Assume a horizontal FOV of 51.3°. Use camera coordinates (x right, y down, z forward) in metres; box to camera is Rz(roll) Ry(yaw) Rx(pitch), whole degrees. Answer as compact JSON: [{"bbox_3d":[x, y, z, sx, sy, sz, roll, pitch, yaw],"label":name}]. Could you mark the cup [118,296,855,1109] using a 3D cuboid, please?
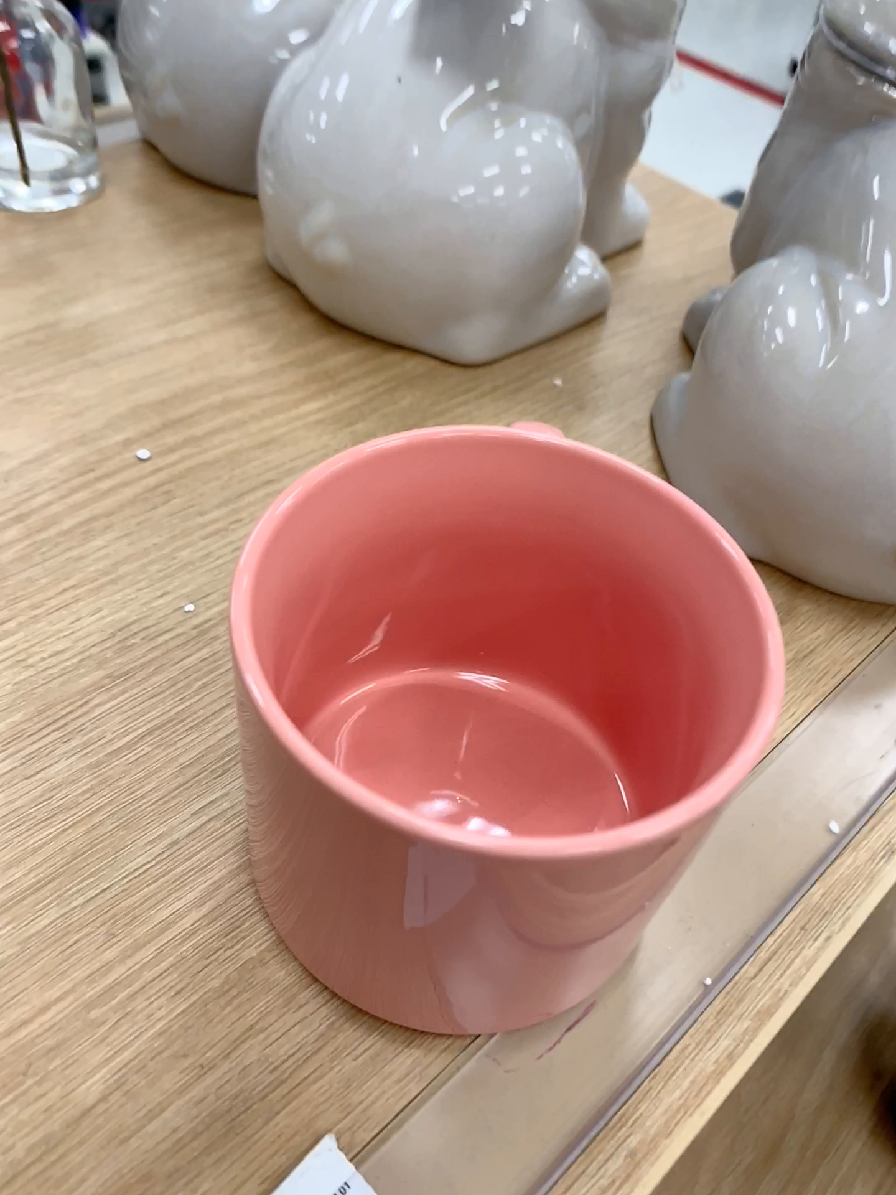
[{"bbox_3d":[0.013,0.016,0.204,0.104,0.085,0.133,13,48,3],"label":"cup"}]
